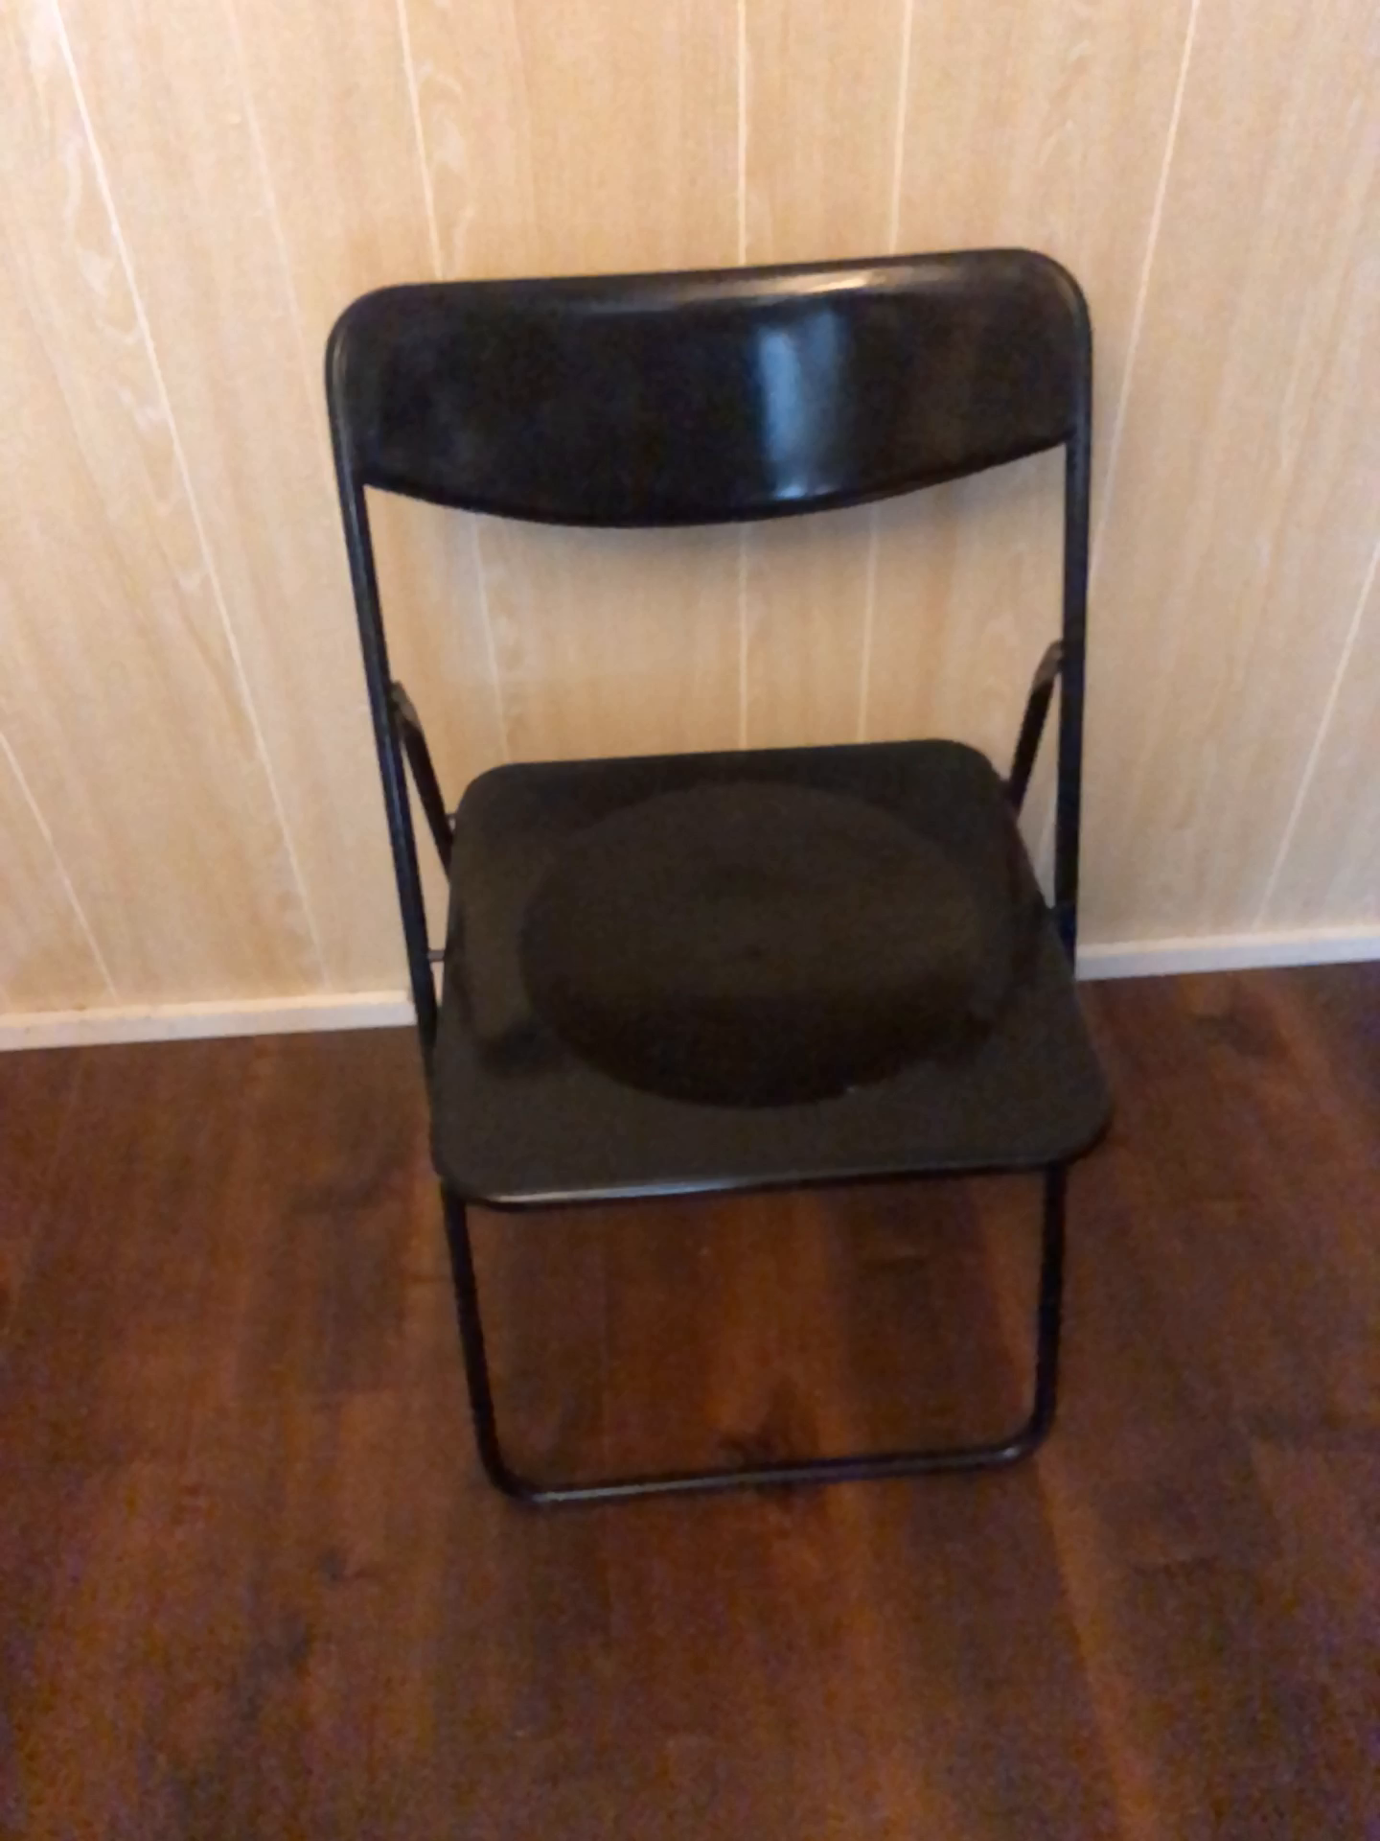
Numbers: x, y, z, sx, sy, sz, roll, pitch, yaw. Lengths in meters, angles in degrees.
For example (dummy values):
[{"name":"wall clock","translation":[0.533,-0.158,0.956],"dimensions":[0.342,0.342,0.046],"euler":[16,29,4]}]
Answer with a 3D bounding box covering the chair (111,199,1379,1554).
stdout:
[{"name":"chair","translation":[0.033,0.001,0.941],"dimensions":[0.490,0.665,0.473],"euler":[-4,46,-2]}]
